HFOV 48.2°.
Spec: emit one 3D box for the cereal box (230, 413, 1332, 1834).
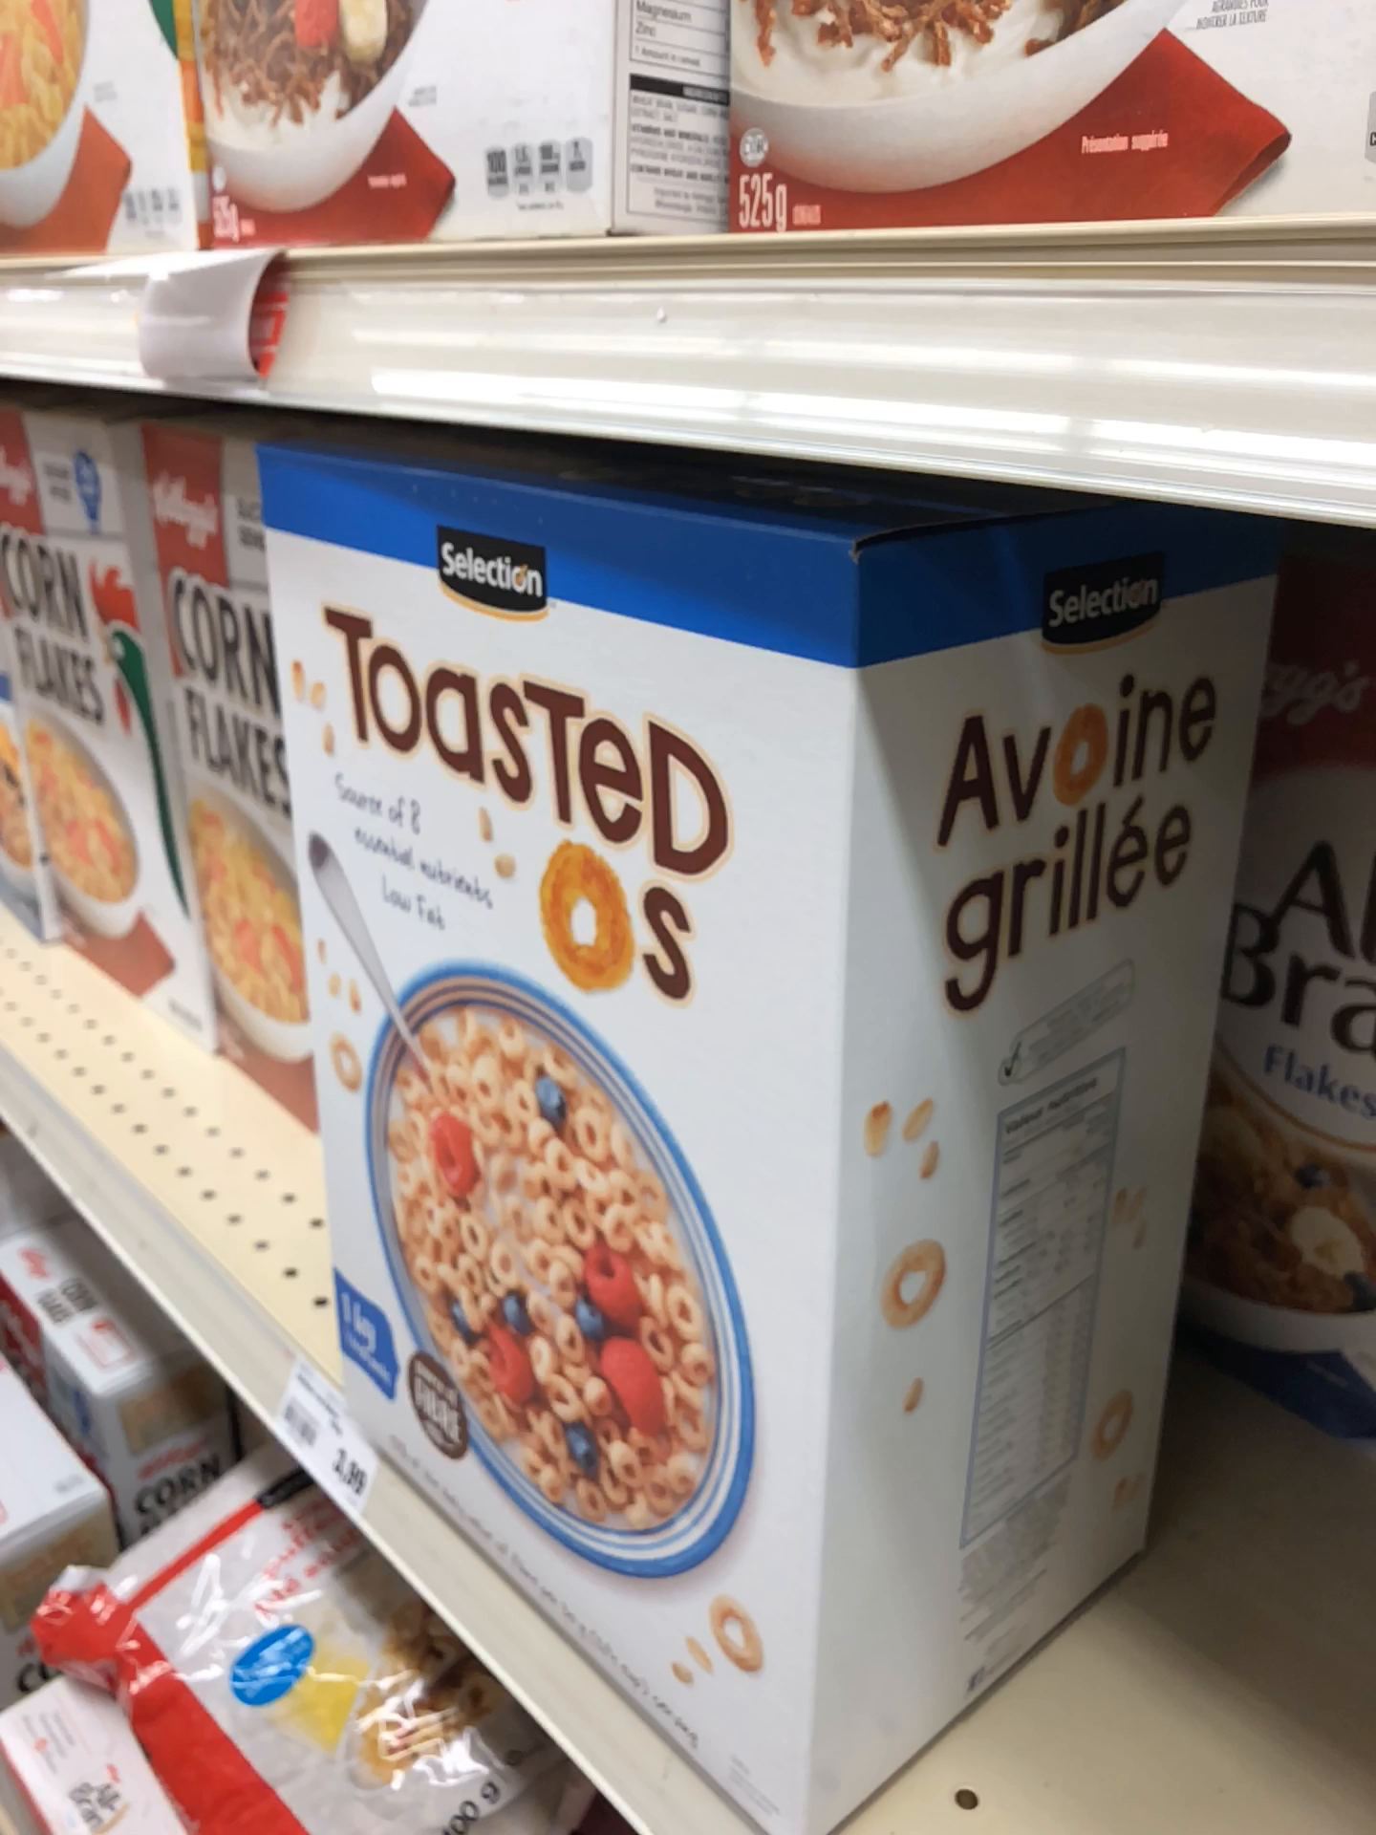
[{"bbox_3d":[0.008,0.037,0.453,0.160,0.338,0.241,-16,27,-39],"label":"cereal box"}]
